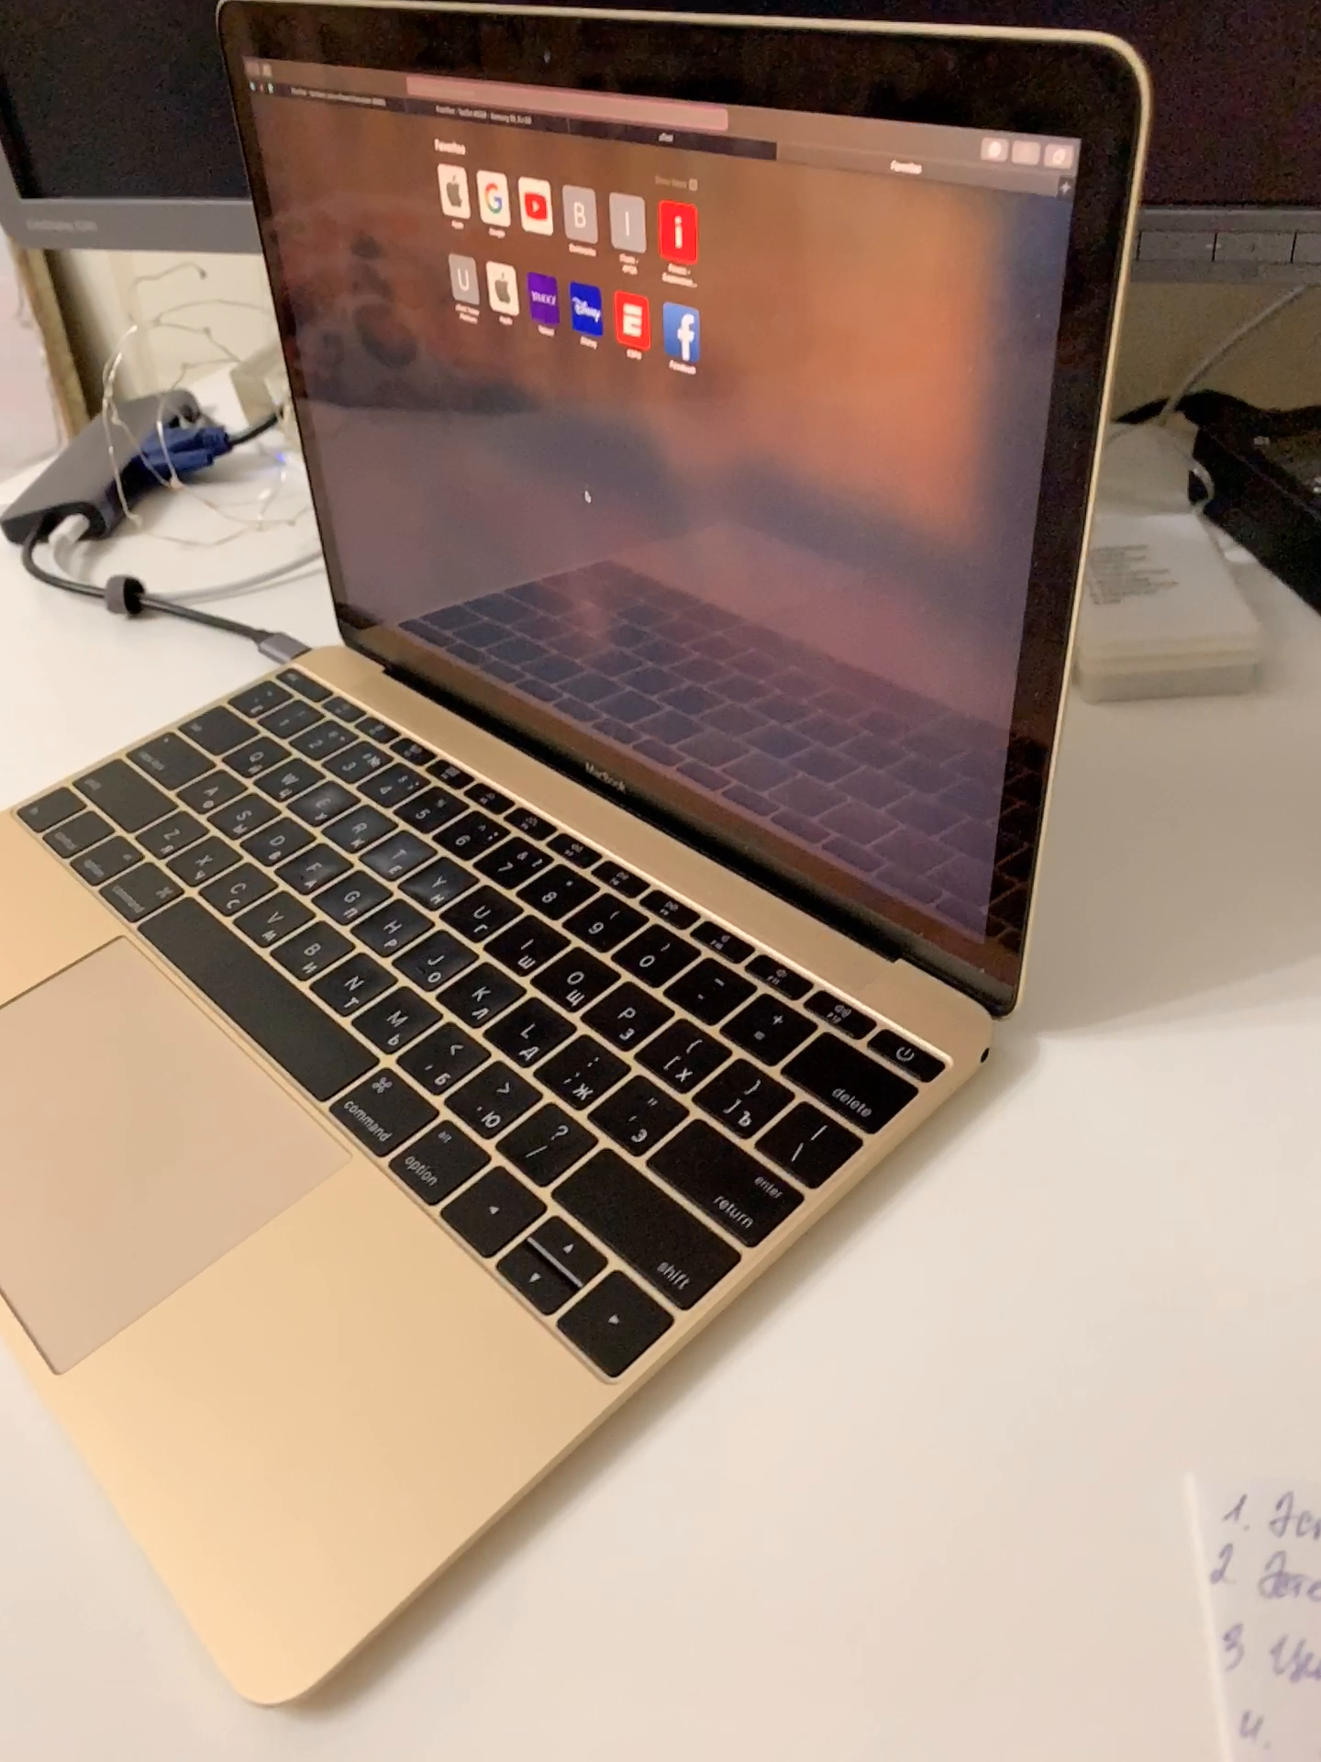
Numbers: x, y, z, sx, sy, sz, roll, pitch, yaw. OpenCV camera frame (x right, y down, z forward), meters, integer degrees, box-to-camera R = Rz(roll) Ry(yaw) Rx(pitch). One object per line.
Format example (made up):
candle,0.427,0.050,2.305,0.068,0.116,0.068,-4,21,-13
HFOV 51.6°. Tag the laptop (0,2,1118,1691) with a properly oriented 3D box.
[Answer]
laptop,-0.082,-0.051,0.266,0.197,0.168,0.248,-35,46,-29
